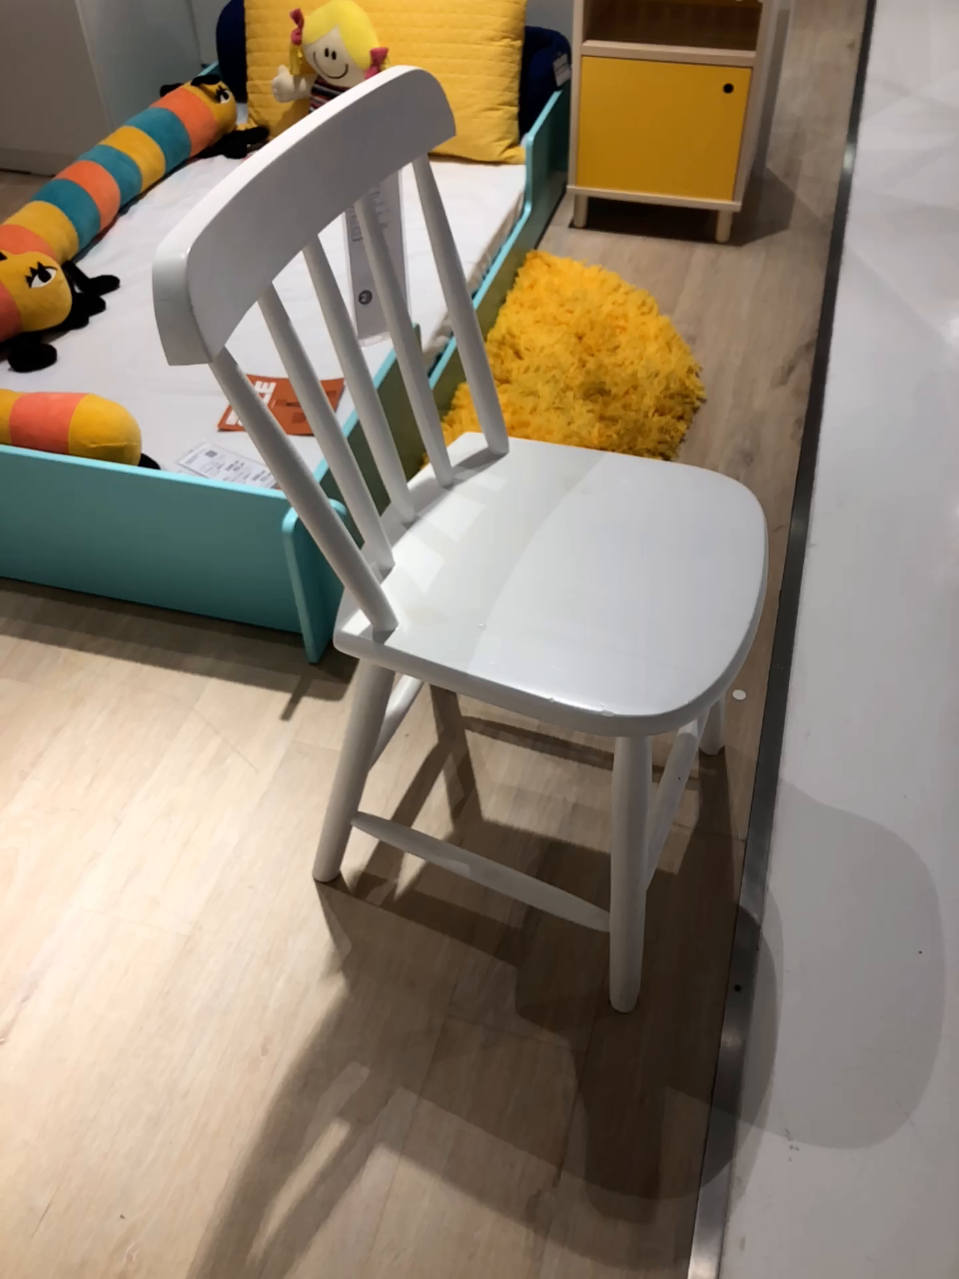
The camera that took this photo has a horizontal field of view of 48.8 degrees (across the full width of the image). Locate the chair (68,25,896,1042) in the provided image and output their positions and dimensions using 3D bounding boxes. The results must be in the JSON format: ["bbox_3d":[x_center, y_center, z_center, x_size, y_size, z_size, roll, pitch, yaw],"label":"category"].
[{"bbox_3d":[0.043,-0.066,0.983,0.430,0.755,0.443,15,48,16],"label":"chair"}]
